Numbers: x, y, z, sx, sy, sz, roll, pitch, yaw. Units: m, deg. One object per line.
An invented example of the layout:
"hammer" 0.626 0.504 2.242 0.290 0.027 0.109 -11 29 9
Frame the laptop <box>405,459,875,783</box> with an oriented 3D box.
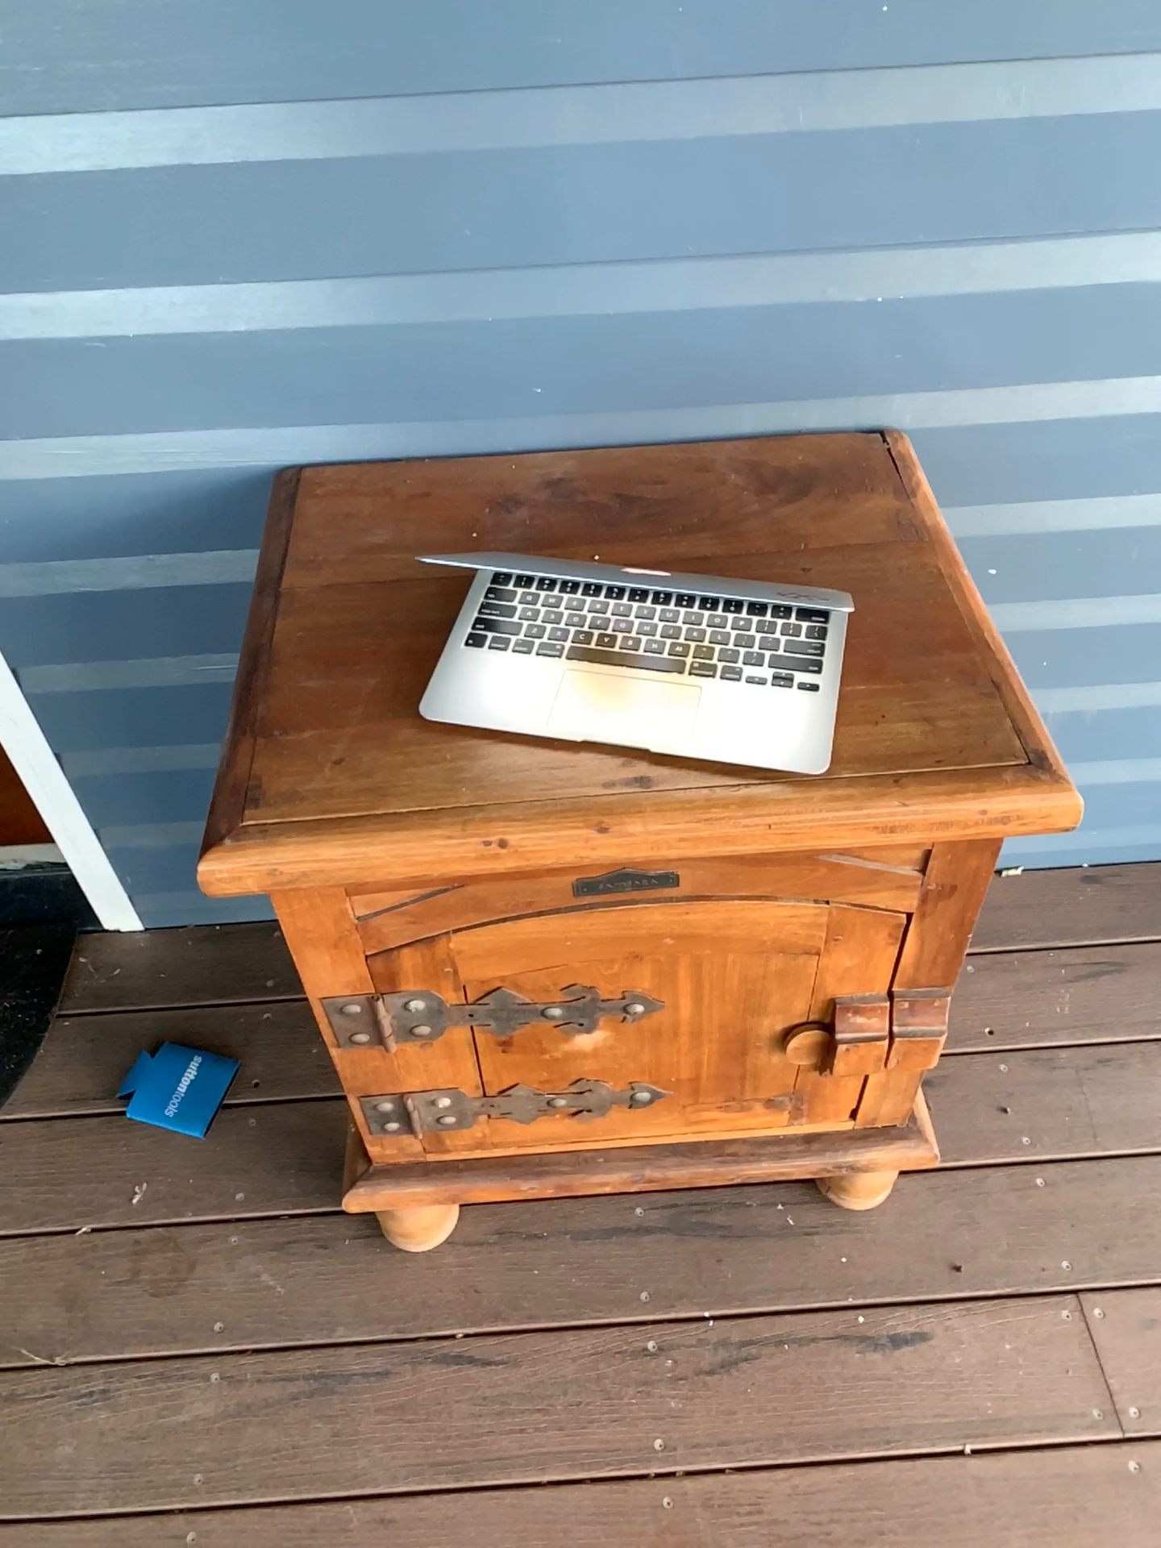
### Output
"laptop" 0.048 -0.113 0.824 0.282 0.099 0.180 8 49 11
